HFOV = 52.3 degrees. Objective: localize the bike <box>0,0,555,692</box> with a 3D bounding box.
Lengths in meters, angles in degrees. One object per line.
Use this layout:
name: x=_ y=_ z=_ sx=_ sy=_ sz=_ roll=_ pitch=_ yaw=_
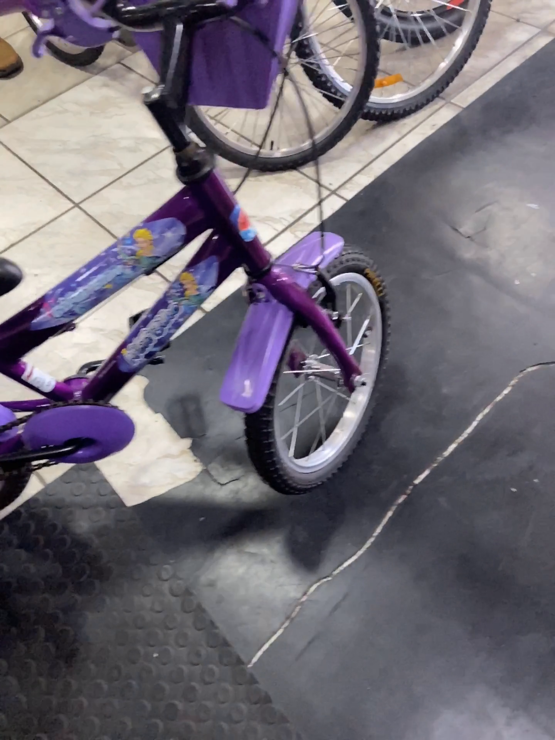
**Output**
bike: x=-0.304 y=-0.057 z=0.699 sx=0.971 sy=0.743 sz=0.449 roll=-21 pitch=58 yaw=-6
